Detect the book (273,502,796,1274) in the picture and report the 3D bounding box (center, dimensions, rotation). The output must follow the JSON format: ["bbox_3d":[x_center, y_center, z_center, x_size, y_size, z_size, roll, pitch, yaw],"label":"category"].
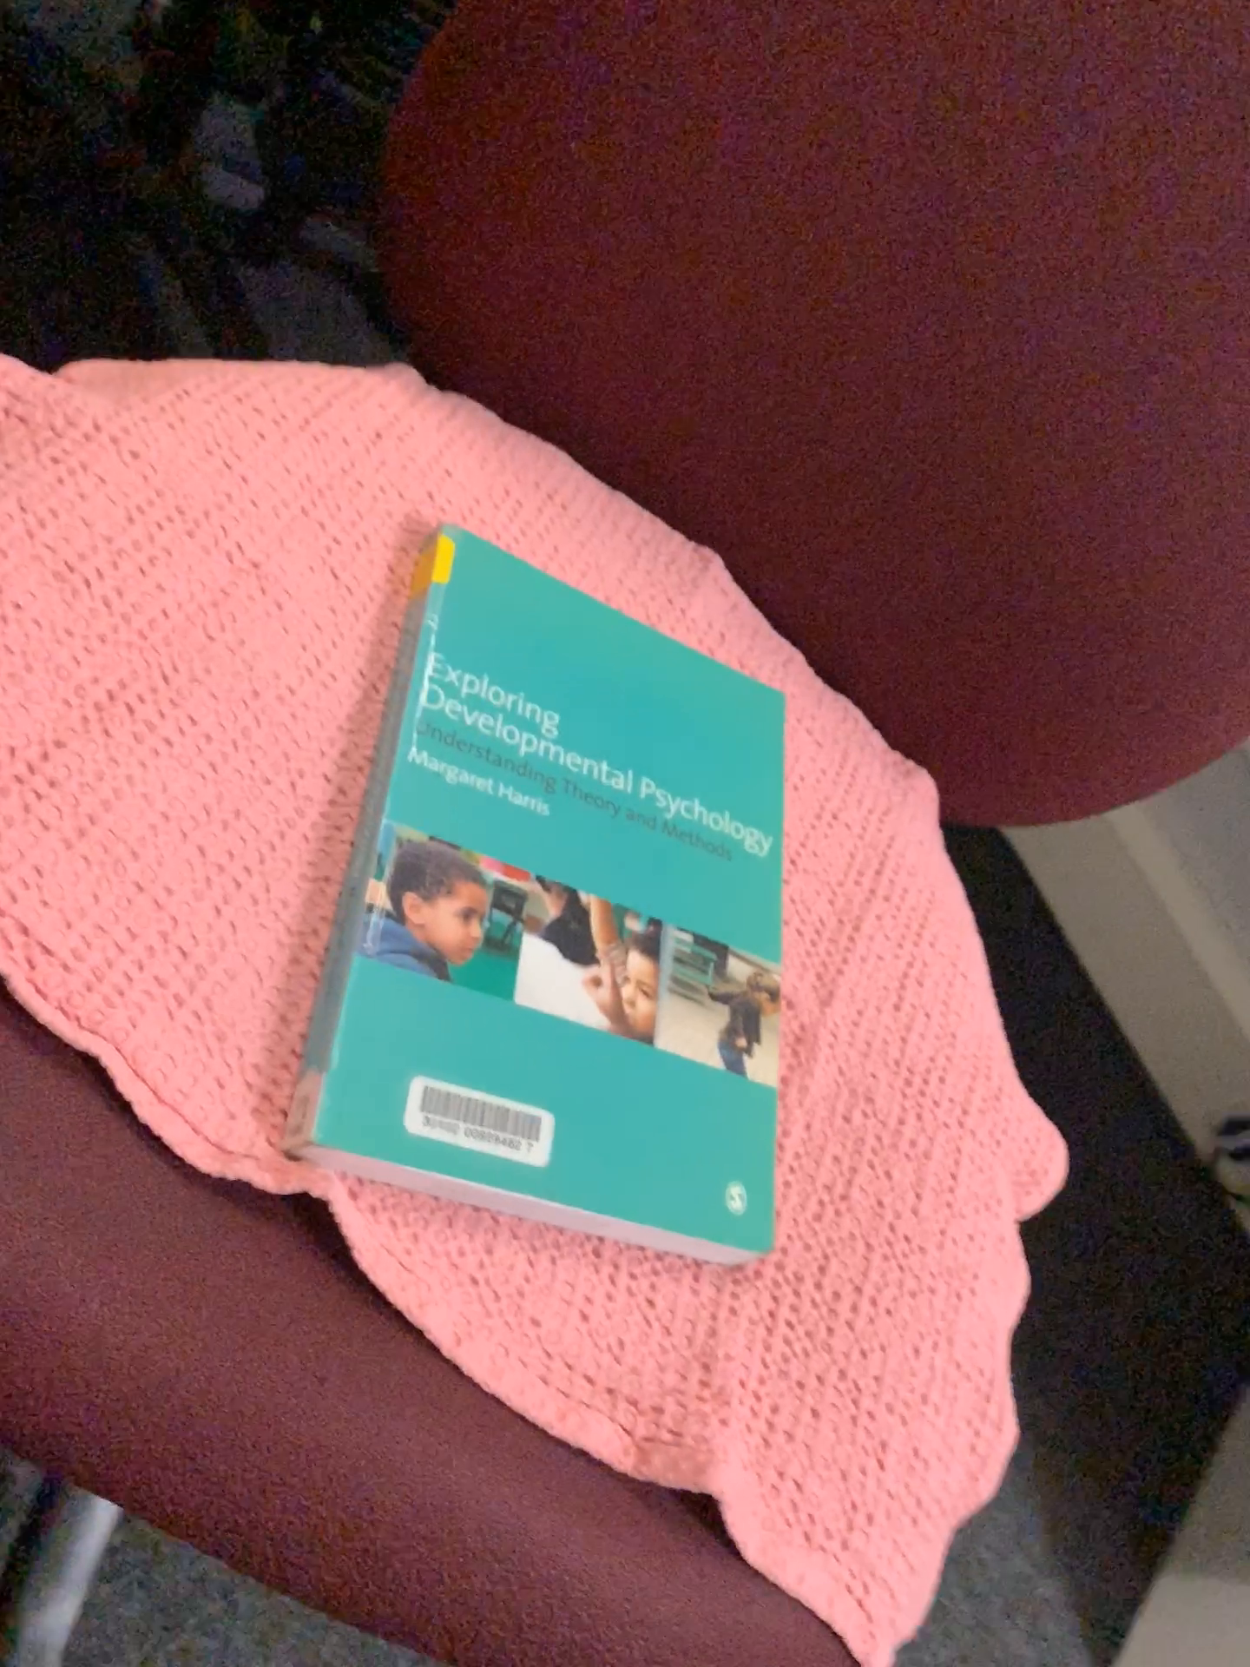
[{"bbox_3d":[-0.015,0.016,0.470,0.175,0.030,0.247,22,54,-28],"label":"book"}]
